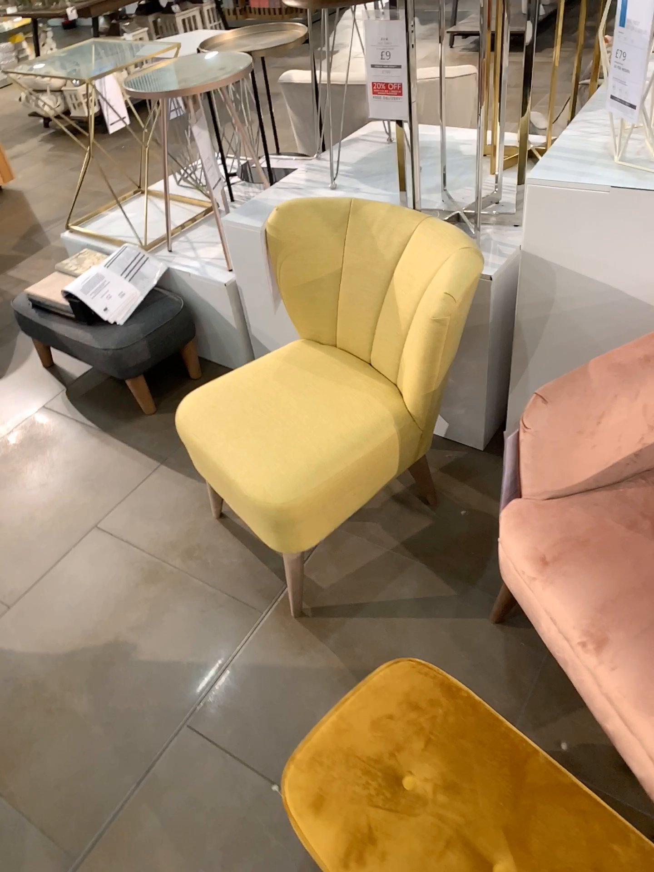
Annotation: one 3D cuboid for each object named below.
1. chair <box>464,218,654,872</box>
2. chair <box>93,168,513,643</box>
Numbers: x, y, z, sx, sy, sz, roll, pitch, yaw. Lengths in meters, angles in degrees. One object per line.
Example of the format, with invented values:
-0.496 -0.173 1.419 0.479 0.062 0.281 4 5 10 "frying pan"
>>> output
0.653 0.186 1.116 0.586 0.765 0.622 -20 42 -12 "chair"
-0.034 -0.099 1.510 0.587 0.696 0.611 -29 44 -21 "chair"
